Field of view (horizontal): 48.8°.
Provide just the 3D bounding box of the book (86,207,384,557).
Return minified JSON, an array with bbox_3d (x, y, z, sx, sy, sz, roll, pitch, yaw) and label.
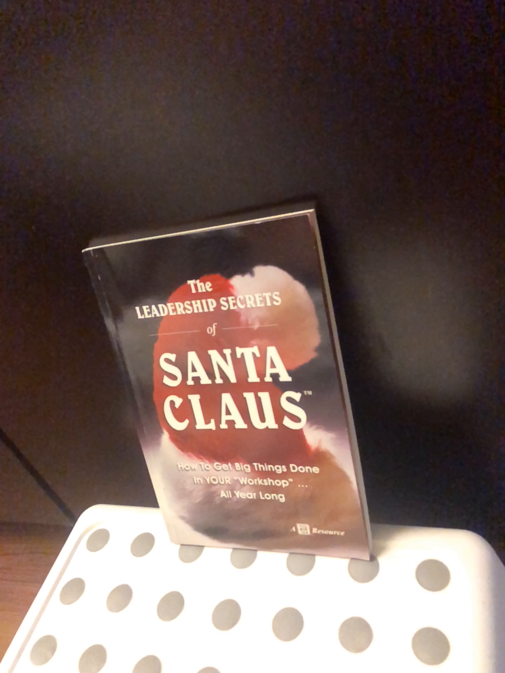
[{"bbox_3d":[-0.010,0.042,0.366,0.160,0.225,0.010,-5,17,22],"label":"book"}]
